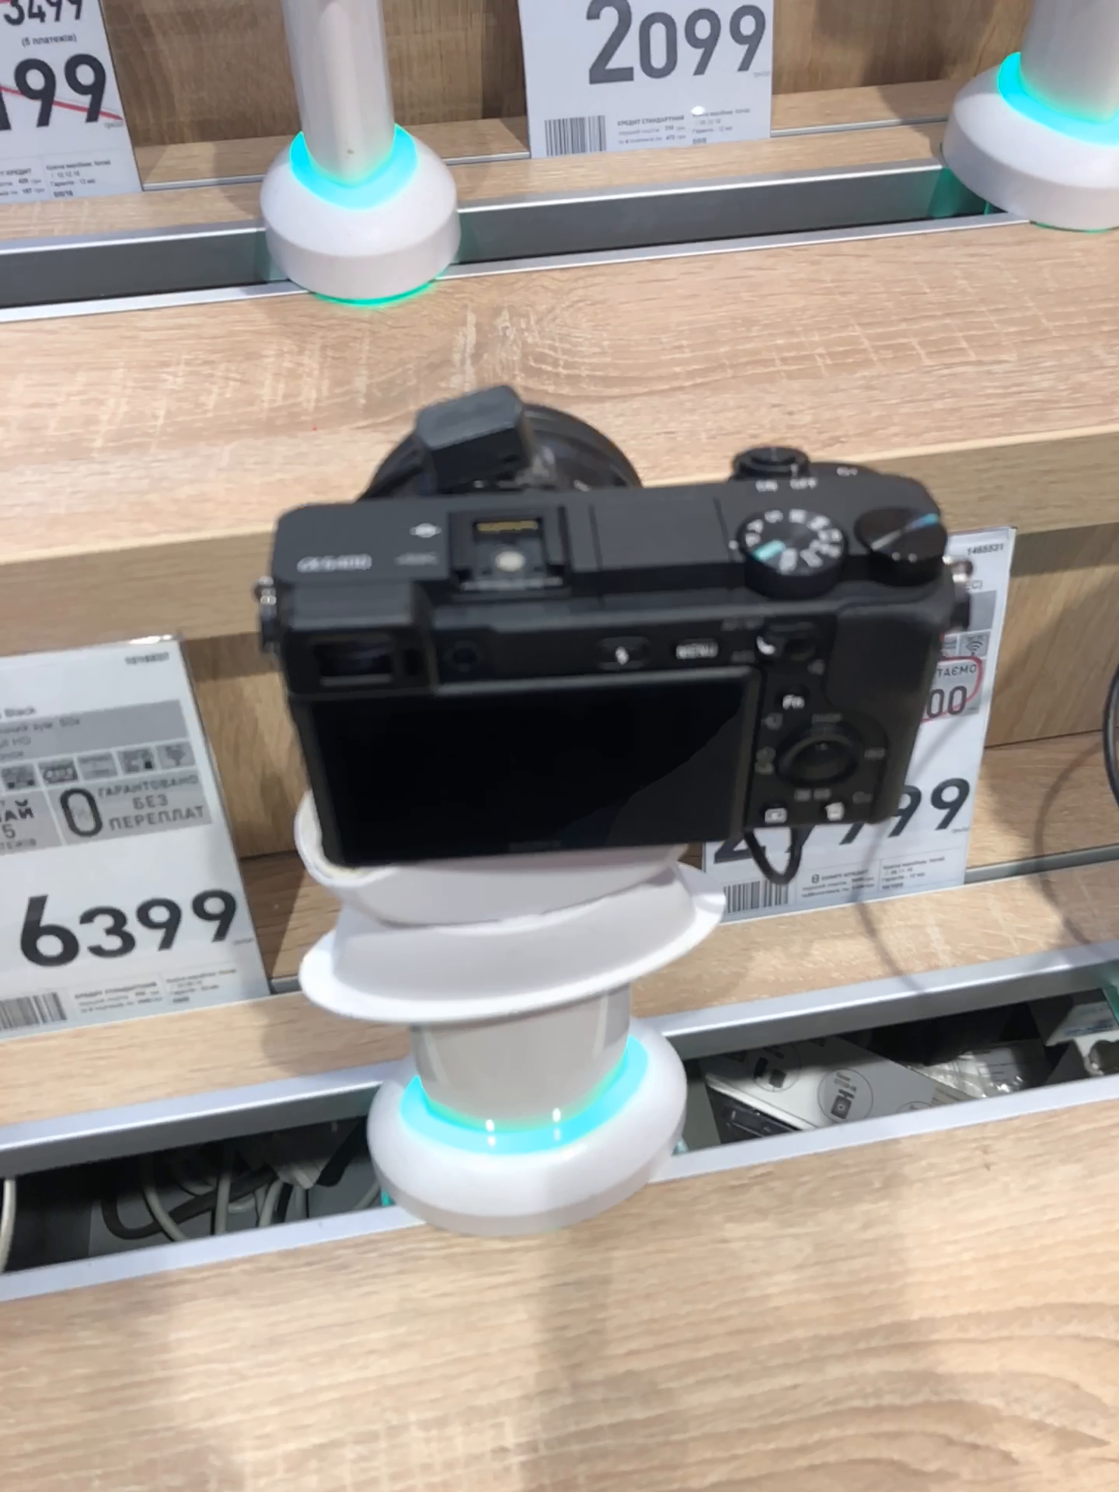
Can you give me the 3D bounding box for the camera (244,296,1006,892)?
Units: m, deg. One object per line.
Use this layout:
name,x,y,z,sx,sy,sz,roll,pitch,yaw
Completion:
camera,0.008,-0.034,0.254,0.122,0.069,0.098,-4,46,-3
